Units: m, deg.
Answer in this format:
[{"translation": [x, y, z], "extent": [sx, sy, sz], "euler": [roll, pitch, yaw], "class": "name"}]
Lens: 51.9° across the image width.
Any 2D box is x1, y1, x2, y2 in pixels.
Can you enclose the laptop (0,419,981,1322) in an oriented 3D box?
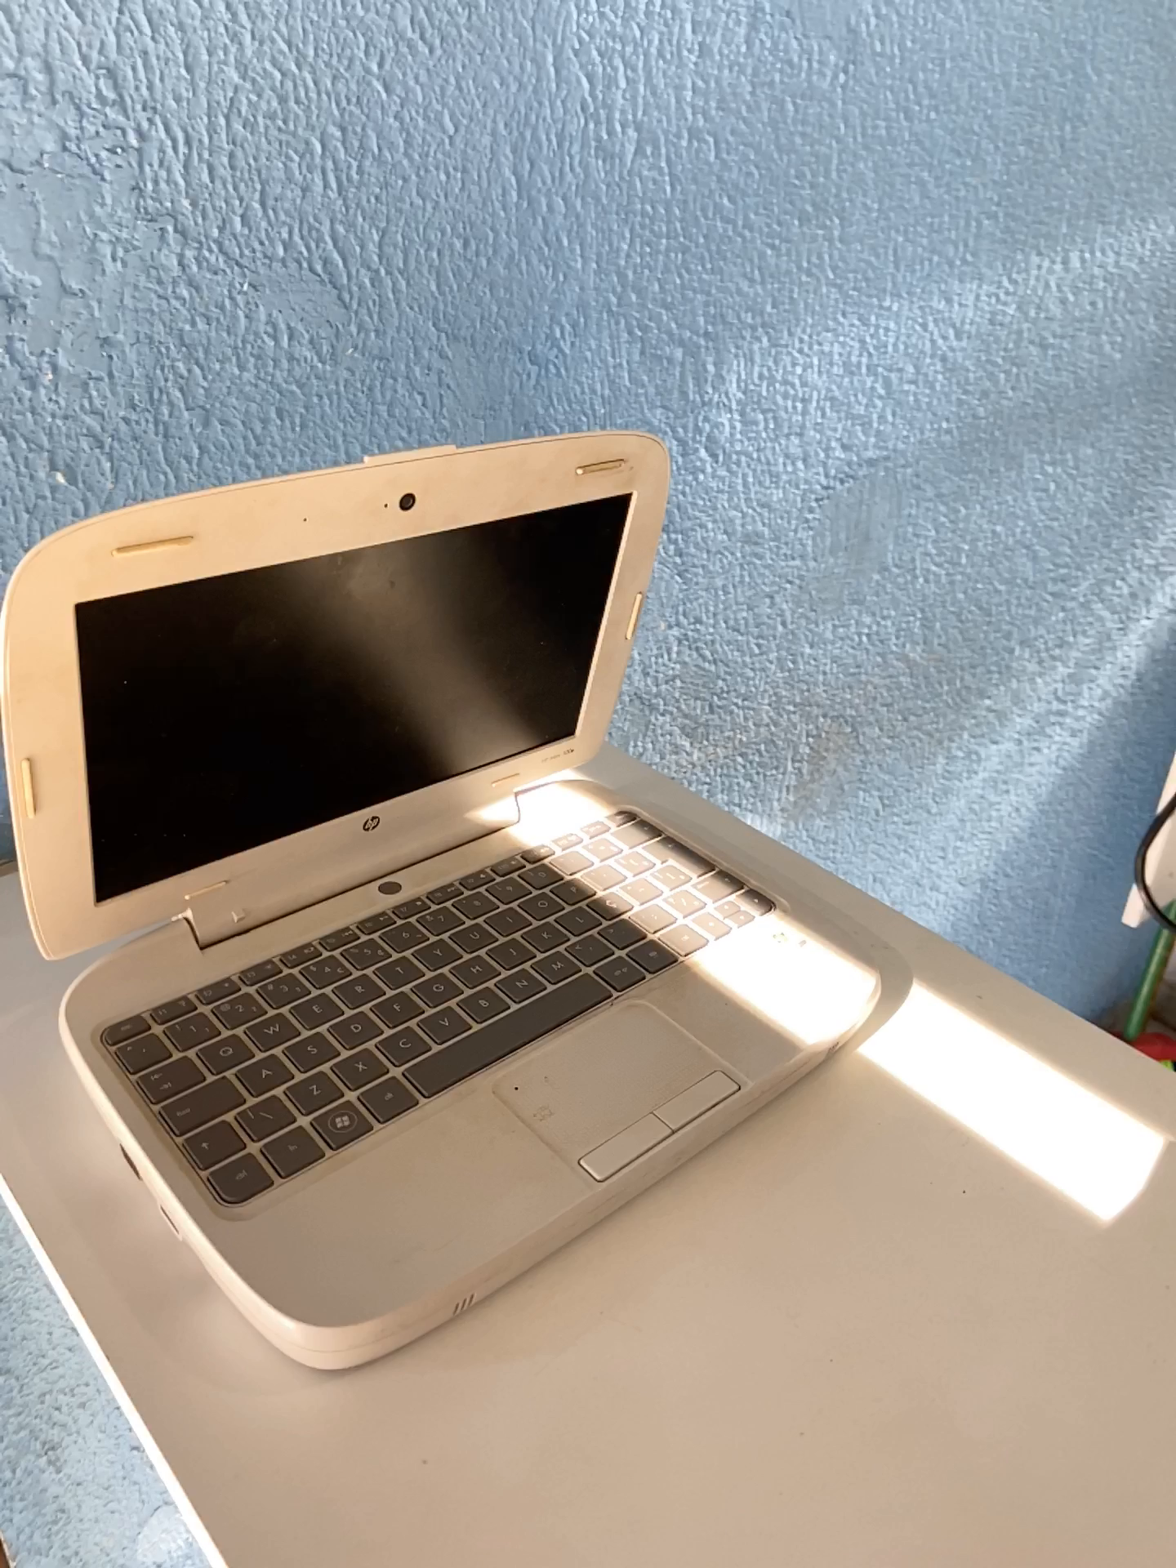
[{"translation": [-0.029, -0.002, 0.420], "extent": [0.248, 0.172, 0.178], "euler": [-22, 39, -36], "class": "laptop"}]
